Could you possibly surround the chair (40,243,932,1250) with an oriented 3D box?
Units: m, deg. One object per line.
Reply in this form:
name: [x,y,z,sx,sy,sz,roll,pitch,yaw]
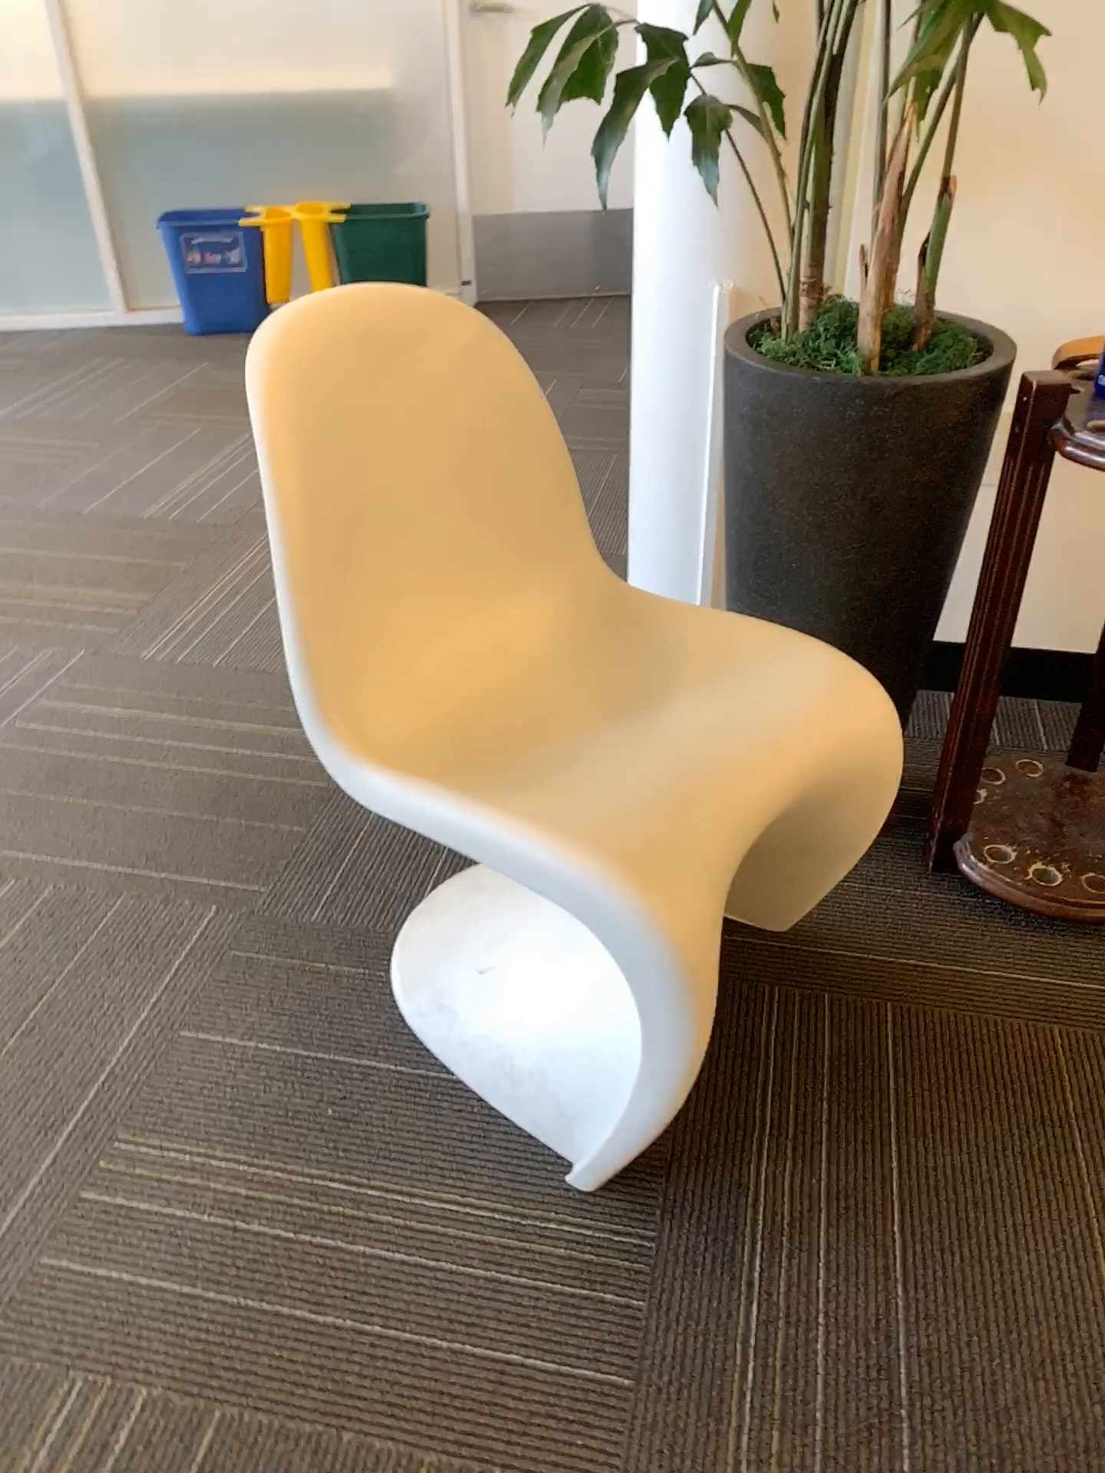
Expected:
chair: [-0.004,-0.039,1.215,0.581,0.775,0.603,14,37,21]
